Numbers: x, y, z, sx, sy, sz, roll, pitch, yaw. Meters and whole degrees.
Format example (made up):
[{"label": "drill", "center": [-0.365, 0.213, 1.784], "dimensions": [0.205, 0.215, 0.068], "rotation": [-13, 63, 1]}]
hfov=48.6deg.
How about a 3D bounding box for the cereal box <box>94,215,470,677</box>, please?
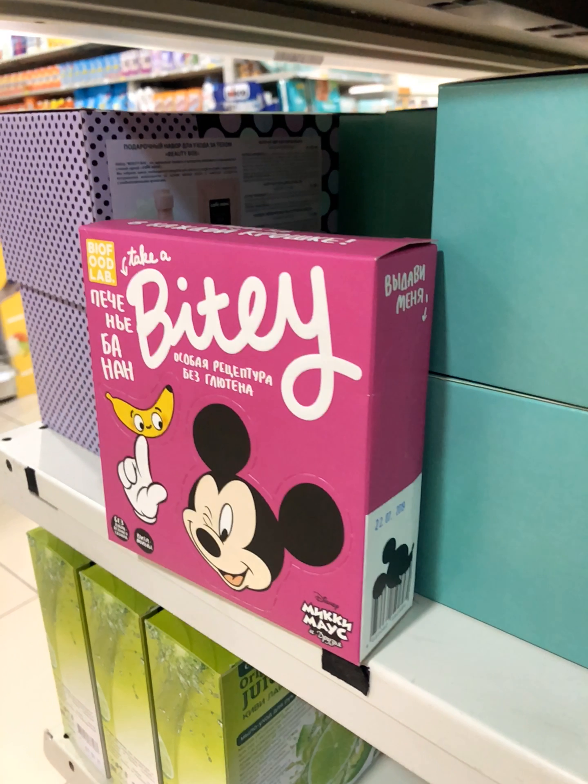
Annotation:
[{"label": "cereal box", "center": [-0.011, 0.012, 0.262], "dimensions": [0.140, 0.149, 0.040], "rotation": [14, 24, 33]}]
